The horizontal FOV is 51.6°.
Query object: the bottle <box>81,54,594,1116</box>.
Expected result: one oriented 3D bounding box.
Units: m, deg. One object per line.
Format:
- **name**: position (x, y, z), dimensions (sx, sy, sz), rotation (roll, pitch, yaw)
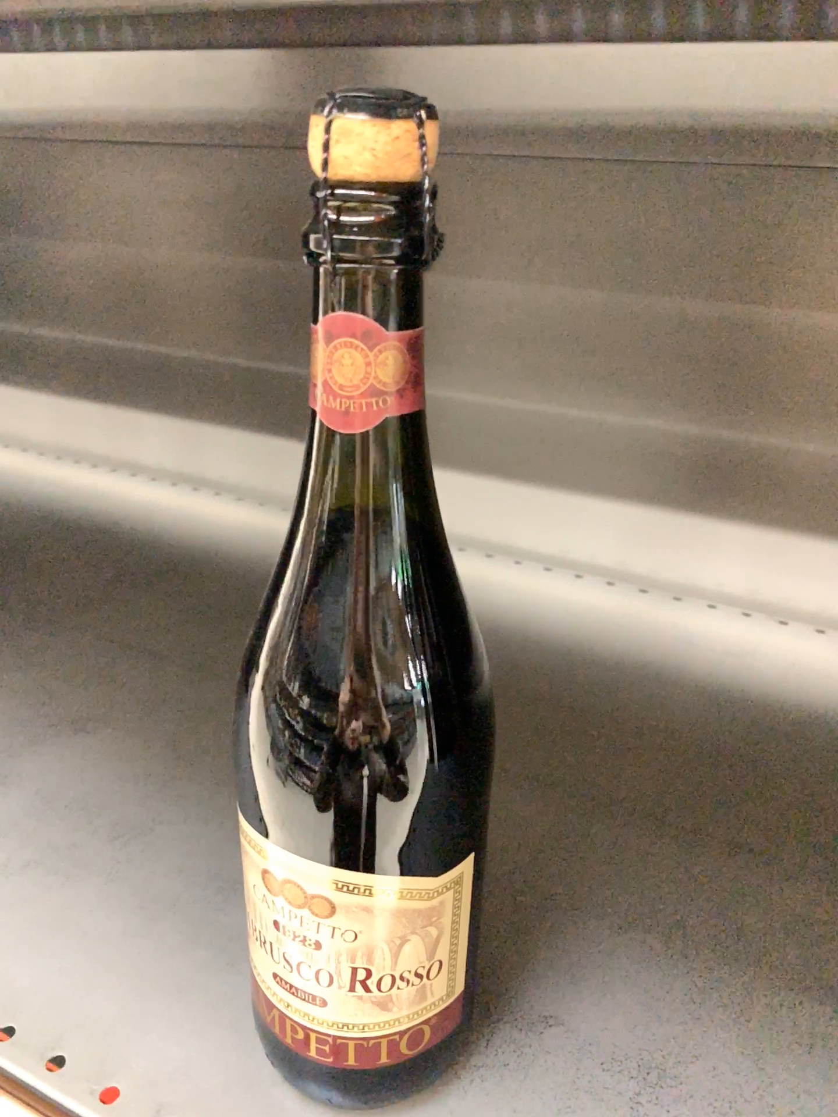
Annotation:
- **bottle**: position (-0.020, 0.025, 0.260), dimensions (0.090, 0.299, 0.080), rotation (12, 26, 21)
